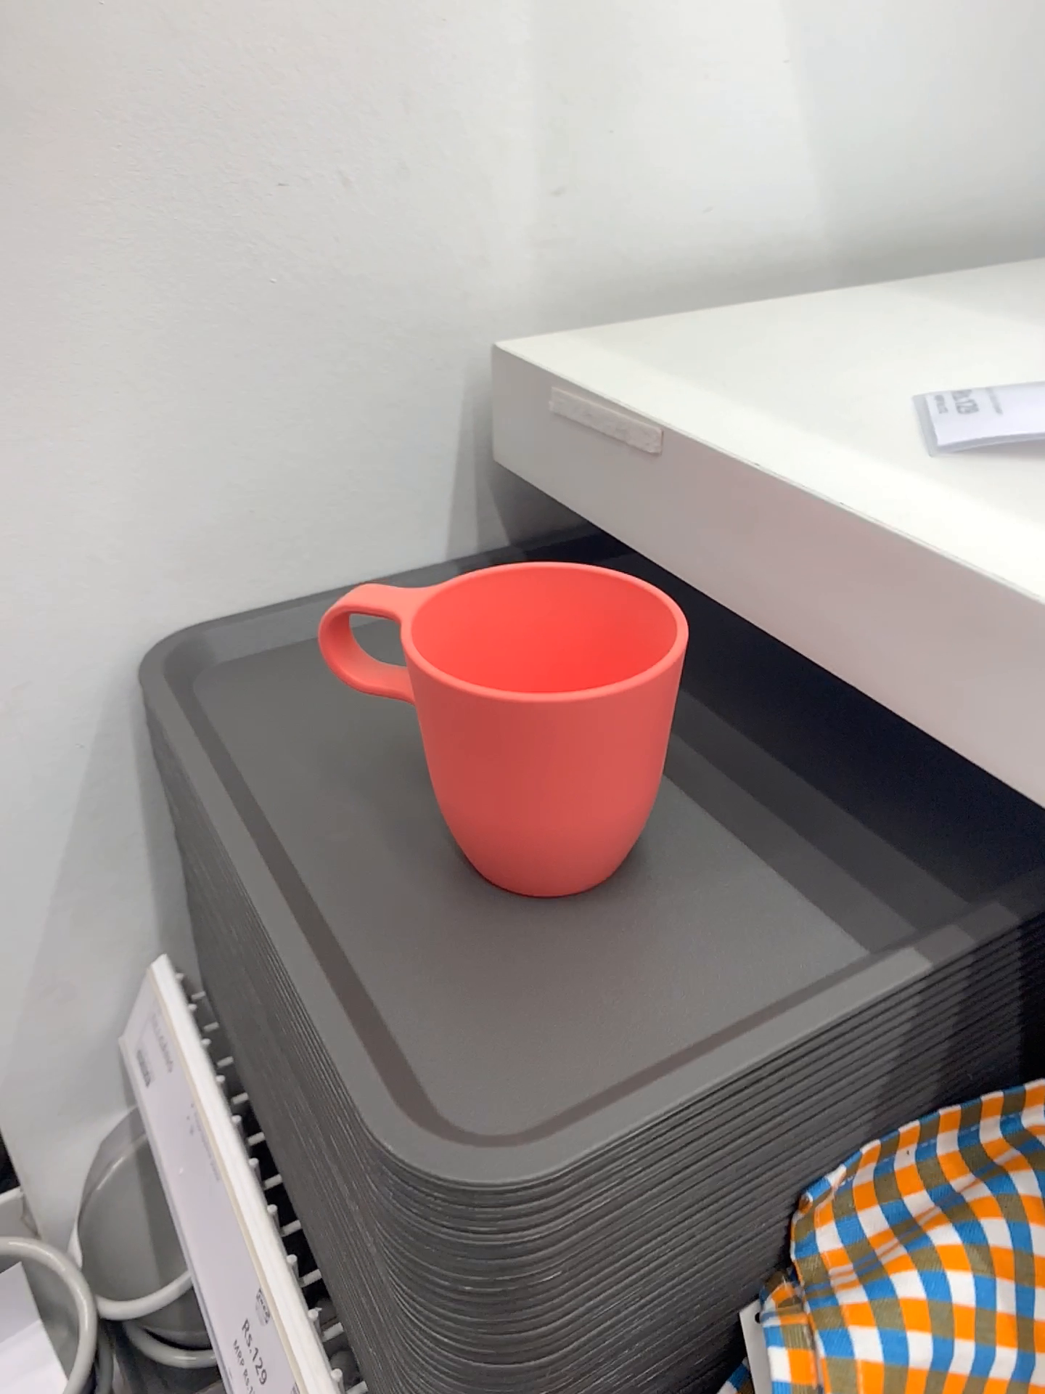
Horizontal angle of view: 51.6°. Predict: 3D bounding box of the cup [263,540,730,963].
[{"bbox_3d":[-0.004,0.012,0.313,0.110,0.080,0.070,9,33,14],"label":"cup"}]
